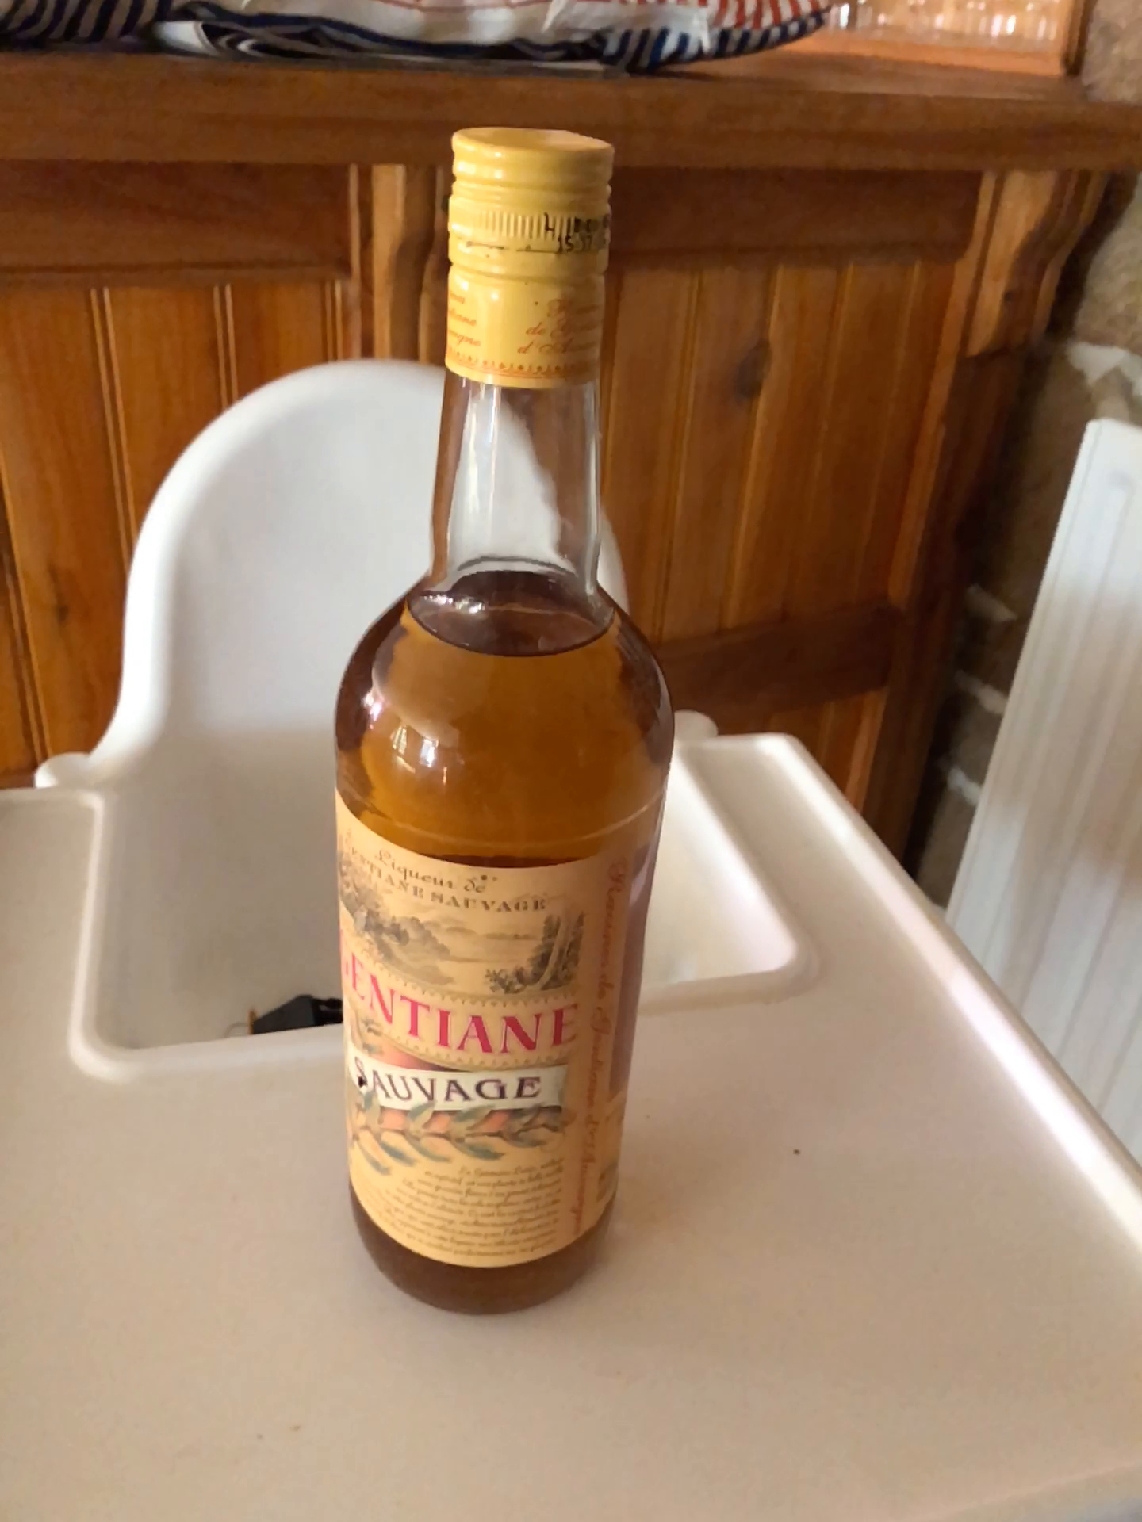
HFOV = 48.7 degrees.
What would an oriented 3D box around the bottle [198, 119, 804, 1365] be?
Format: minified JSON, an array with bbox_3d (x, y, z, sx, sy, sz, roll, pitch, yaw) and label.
[{"bbox_3d":[-0.019,0.009,0.321,0.090,0.298,0.081,17,33,21],"label":"bottle"}]
